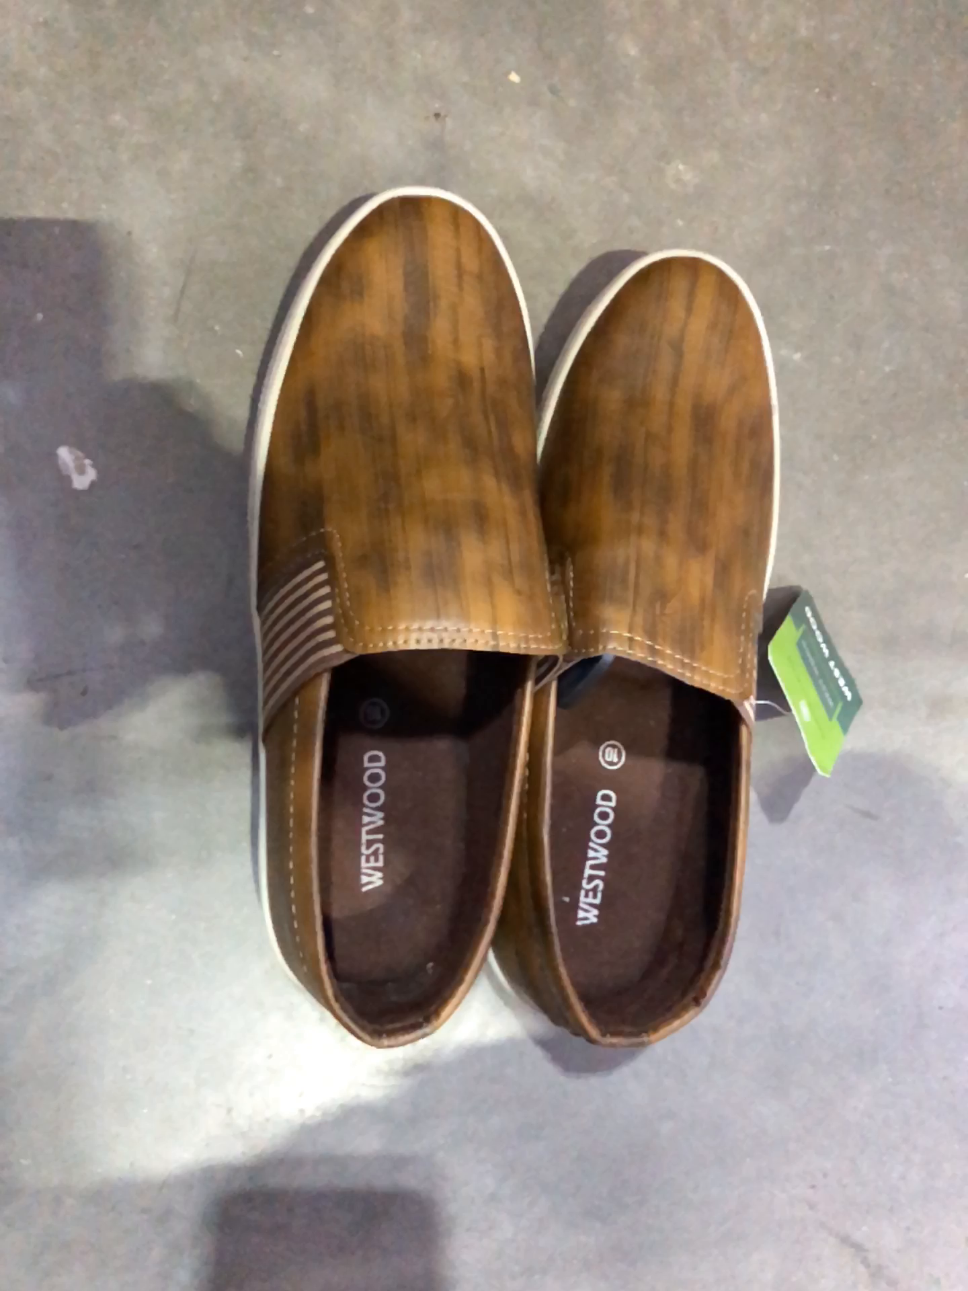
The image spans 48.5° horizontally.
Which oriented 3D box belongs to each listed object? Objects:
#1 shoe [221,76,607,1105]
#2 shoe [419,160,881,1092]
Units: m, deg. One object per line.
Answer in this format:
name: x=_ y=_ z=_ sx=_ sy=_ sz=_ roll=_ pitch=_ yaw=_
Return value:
shoe: x=-0.027 y=-0.015 z=0.359 sx=0.100 sy=0.100 sz=0.290 roll=3 pitch=84 yaw=-12
shoe: x=0.057 y=-0.004 z=0.396 sx=0.110 sy=0.100 sz=0.290 roll=9 pitch=83 yaw=-12
